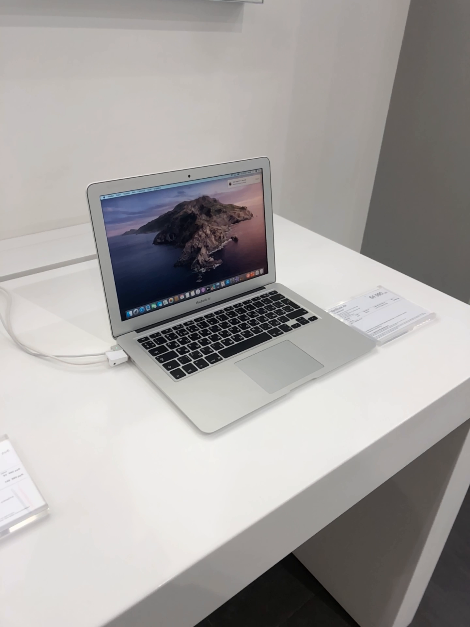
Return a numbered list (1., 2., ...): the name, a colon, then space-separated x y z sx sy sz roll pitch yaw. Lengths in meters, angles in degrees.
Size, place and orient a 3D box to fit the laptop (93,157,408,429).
1. laptop: 0.014 -0.061 0.722 0.316 0.207 0.271 -20 39 -34
